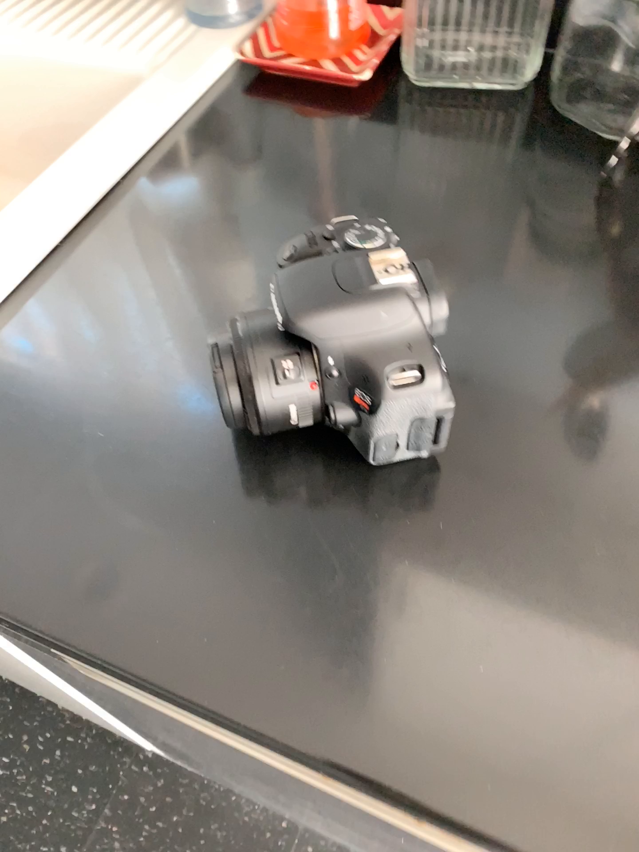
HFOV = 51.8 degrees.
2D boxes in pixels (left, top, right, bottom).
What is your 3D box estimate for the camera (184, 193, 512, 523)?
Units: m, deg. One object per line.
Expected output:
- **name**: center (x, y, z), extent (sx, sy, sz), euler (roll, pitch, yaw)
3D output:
- **camera**: center (0.009, -0.042, 0.391), extent (0.145, 0.100, 0.141), euler (-11, 55, -5)
